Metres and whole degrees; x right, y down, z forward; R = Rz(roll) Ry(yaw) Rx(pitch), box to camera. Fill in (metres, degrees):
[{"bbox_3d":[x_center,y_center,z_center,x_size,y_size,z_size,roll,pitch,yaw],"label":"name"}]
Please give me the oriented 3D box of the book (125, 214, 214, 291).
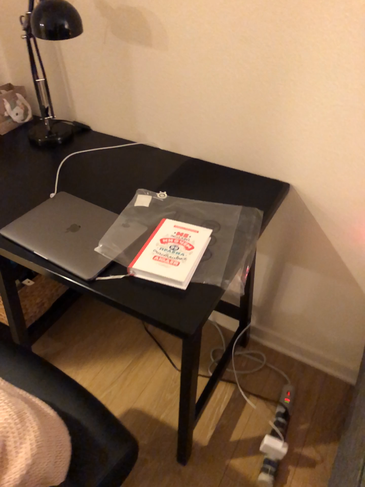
[{"bbox_3d":[-0.024,0.014,0.921,0.140,0.030,0.191,13,43,15],"label":"book"}]
